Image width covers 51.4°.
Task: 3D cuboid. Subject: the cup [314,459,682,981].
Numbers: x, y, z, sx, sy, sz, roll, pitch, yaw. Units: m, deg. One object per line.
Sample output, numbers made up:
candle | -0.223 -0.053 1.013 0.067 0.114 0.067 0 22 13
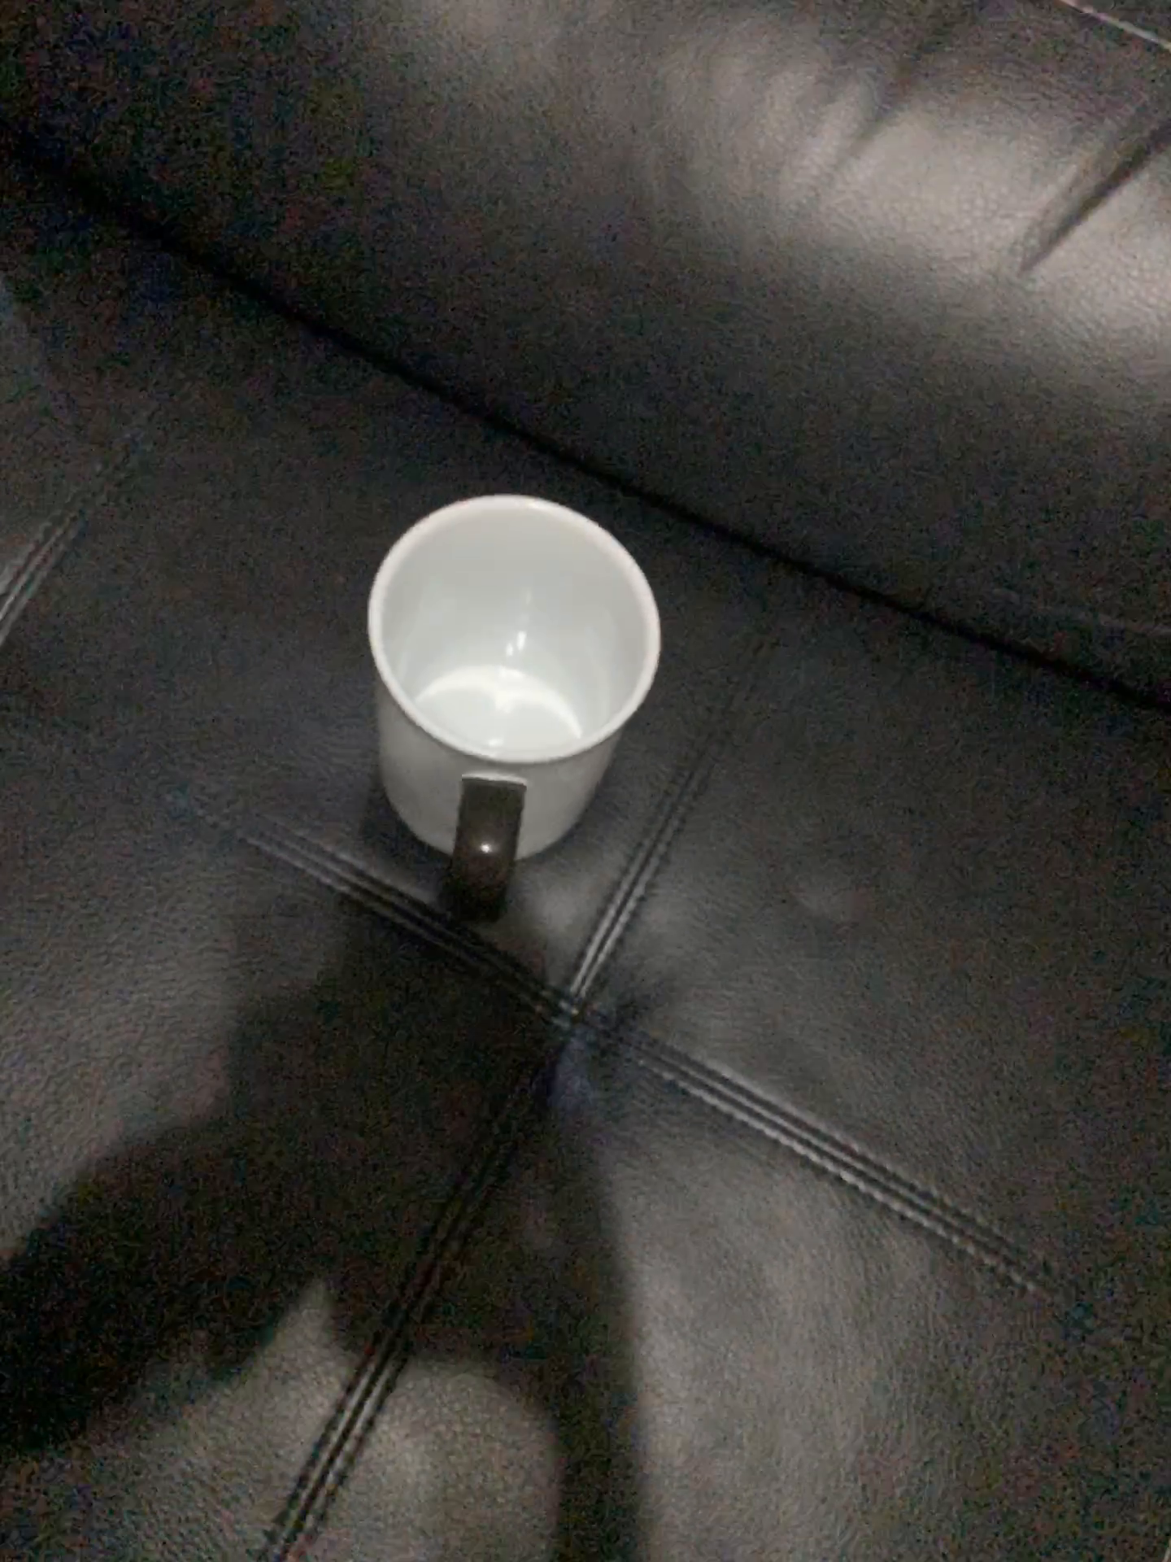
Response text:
cup | -0.030 -0.015 0.413 0.092 0.116 0.124 10 64 -5
